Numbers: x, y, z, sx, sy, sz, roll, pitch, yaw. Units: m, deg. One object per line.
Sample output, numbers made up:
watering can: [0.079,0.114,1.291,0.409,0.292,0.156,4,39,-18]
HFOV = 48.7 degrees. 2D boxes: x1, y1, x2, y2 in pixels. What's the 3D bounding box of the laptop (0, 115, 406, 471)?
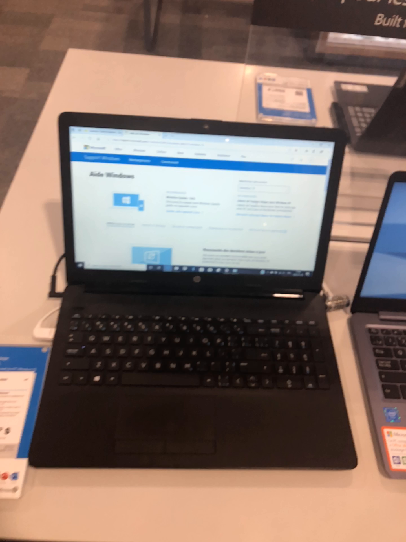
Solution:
laptop: [-0.003,0.014,0.528,0.356,0.195,0.360,2,51,-3]
